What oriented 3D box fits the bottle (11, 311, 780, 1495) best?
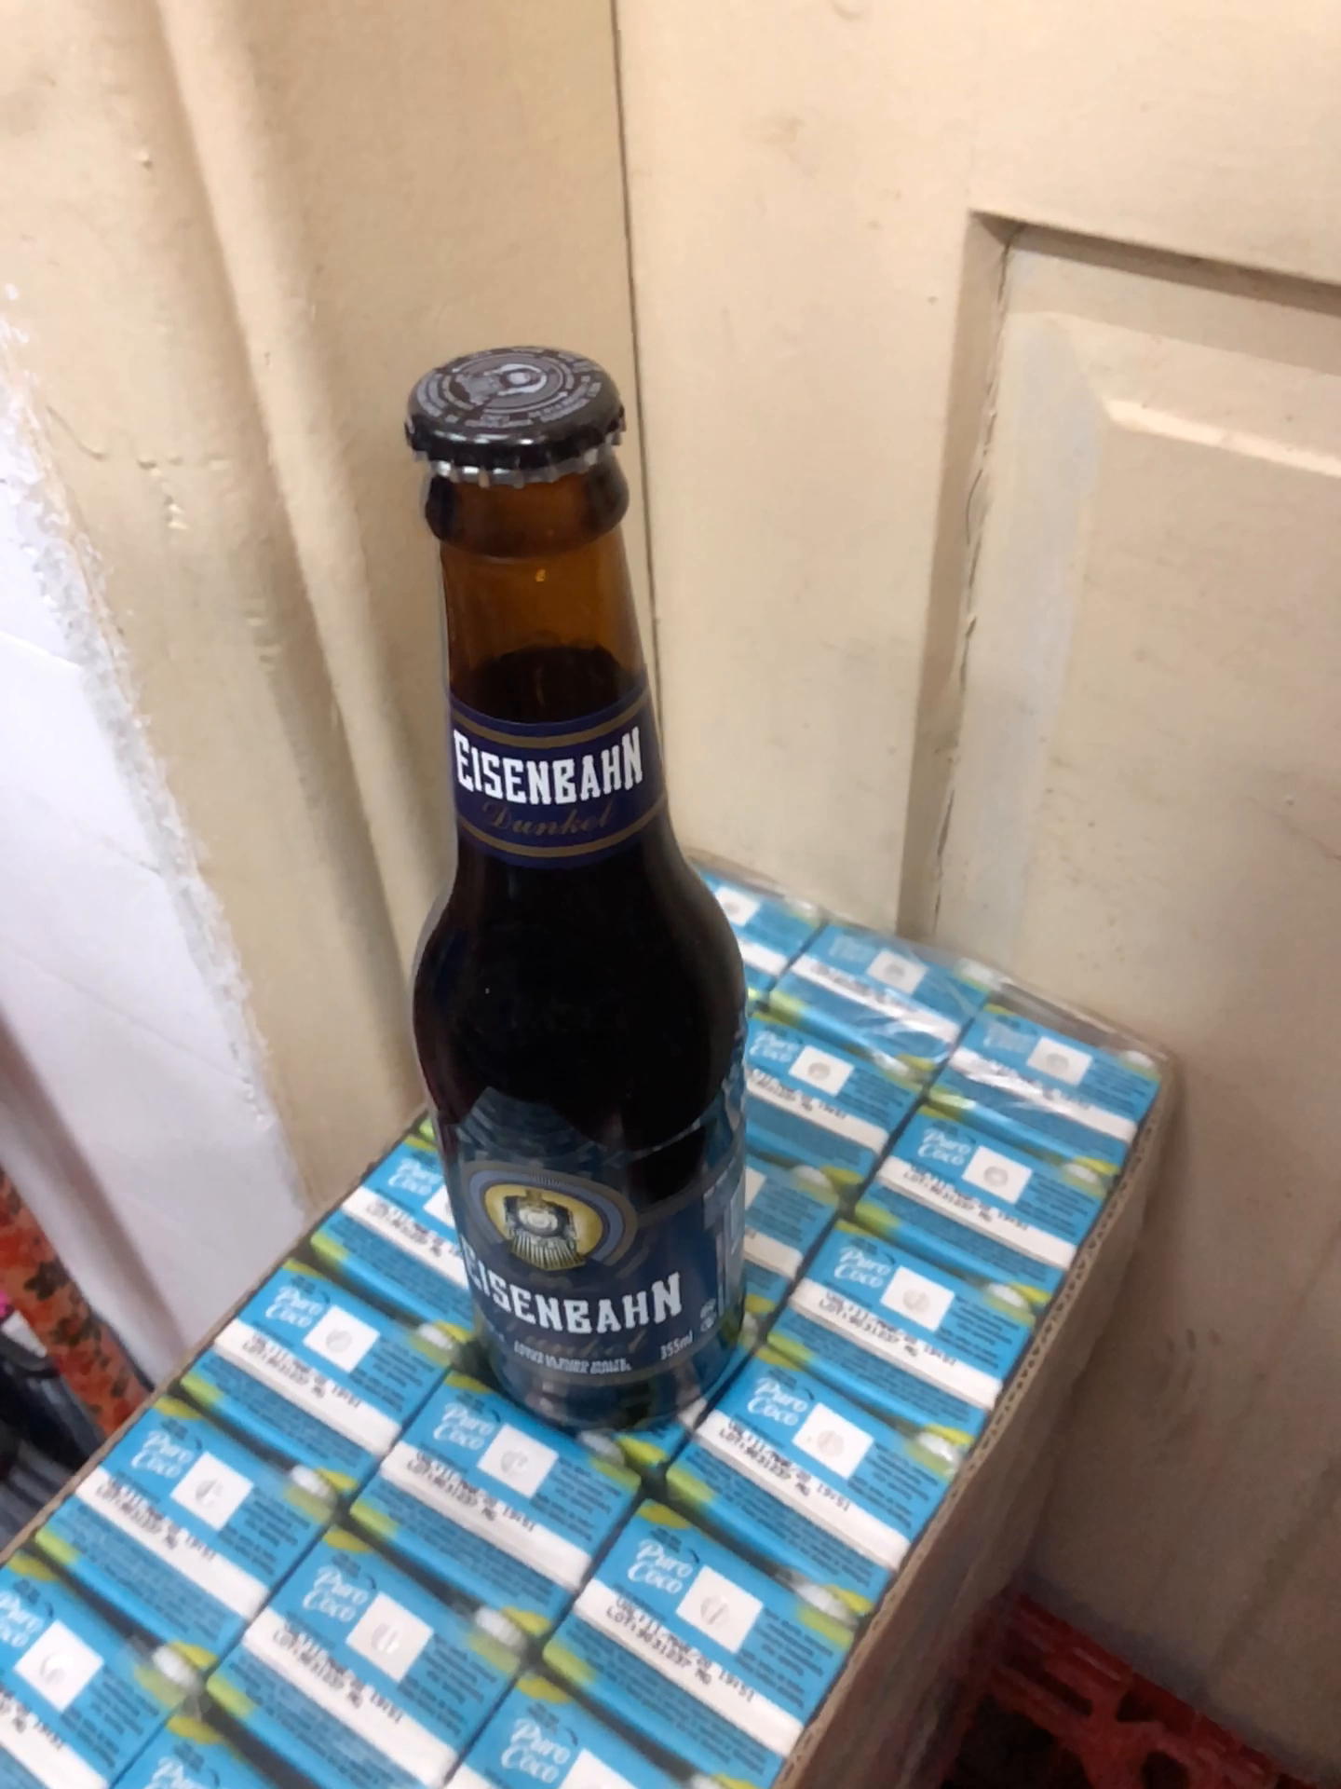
[{"bbox_3d":[-0.024,0.019,0.241,0.070,0.199,0.060,9,47,12],"label":"bottle"}]
